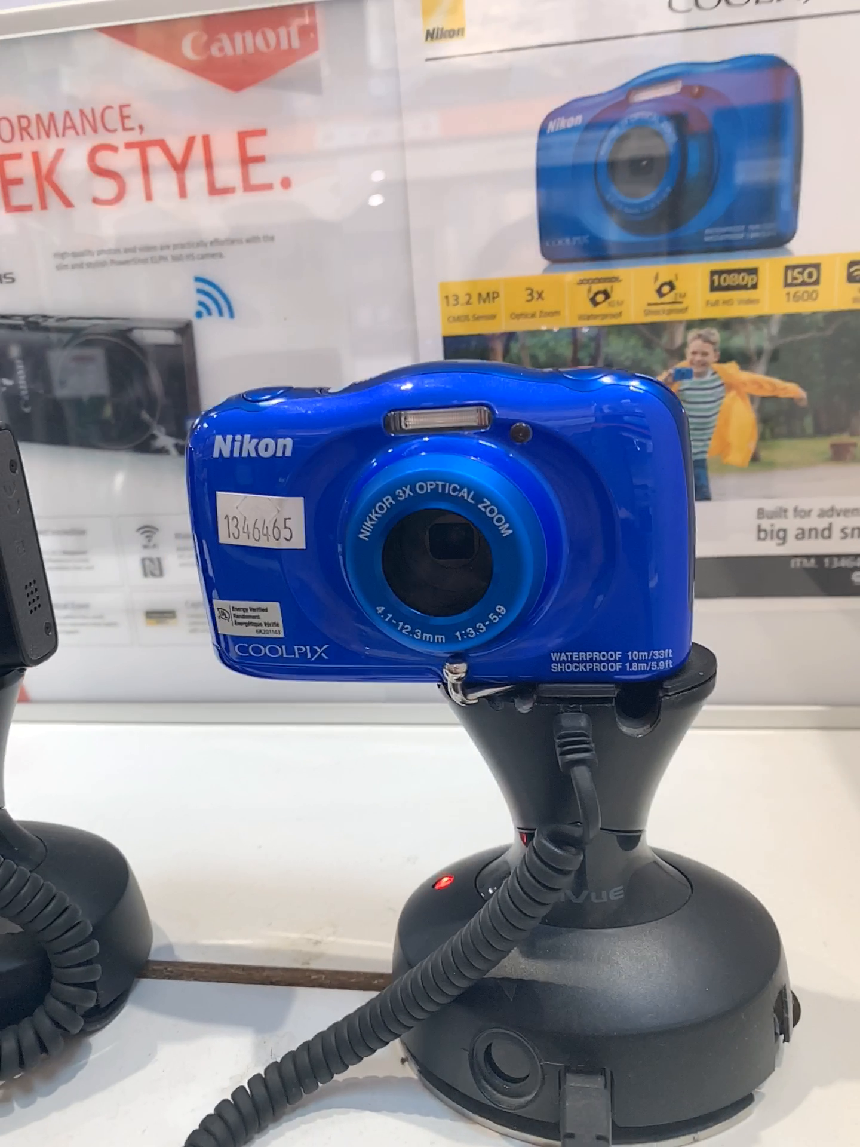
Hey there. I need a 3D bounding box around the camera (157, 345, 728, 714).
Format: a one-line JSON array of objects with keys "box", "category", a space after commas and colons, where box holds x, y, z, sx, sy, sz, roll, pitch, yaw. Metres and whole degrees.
[{"box": [0.005, -0.011, 0.186, 0.101, 0.063, 0.046, 0, 16, 11], "category": "camera"}]
